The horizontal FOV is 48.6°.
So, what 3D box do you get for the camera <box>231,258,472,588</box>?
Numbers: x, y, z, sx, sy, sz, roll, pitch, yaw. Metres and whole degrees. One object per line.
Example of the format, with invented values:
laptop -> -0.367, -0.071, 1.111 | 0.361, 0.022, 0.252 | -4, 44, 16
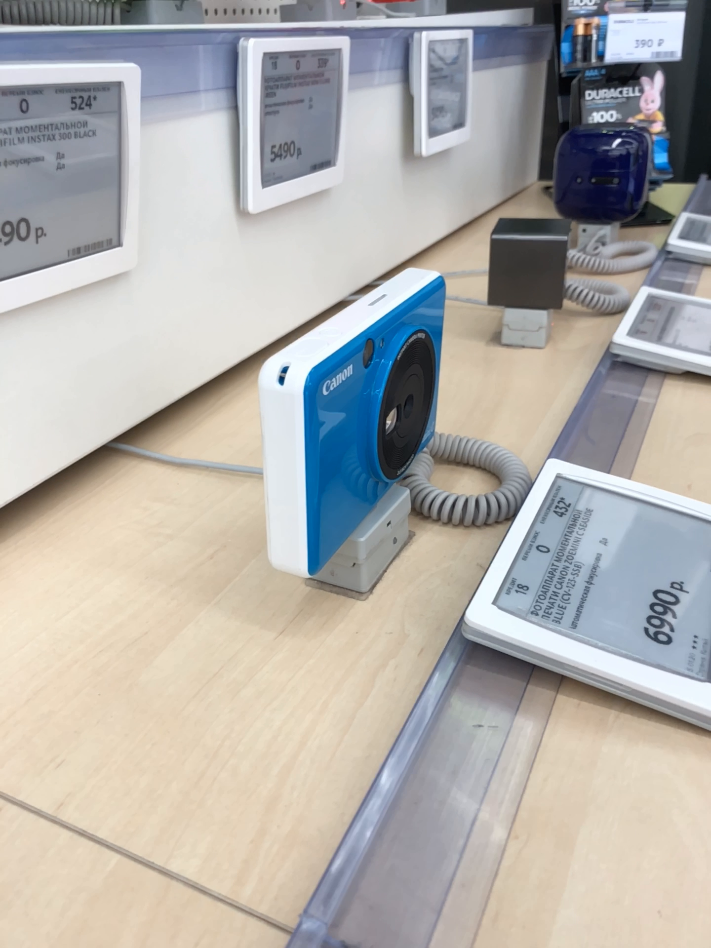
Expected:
camera -> 0.004, -0.025, 0.281 | 0.030, 0.070, 0.121 | 15, 34, 22
